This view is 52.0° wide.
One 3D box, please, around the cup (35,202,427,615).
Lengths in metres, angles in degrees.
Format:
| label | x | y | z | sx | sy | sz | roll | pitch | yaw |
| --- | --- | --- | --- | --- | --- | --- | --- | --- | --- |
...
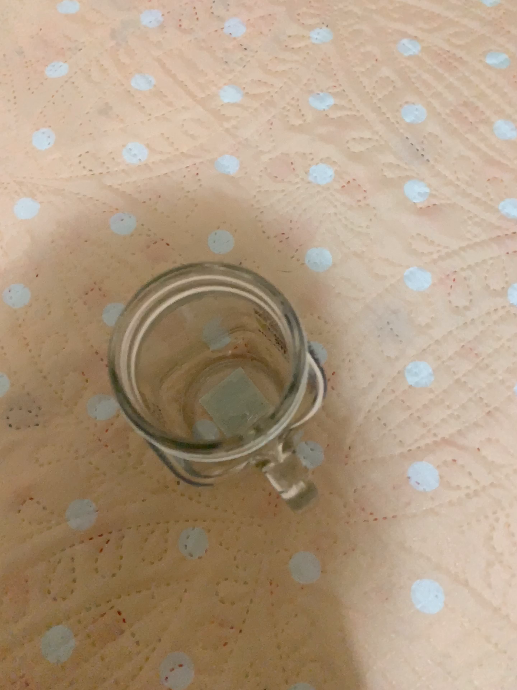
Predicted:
| label | x | y | z | sx | sy | sz | roll | pitch | yaw |
| --- | --- | --- | --- | --- | --- | --- | --- | --- | --- |
| cup | -0.011 | 0.030 | 0.218 | 0.080 | 0.120 | 0.100 | -30 | 74 | -9 |
